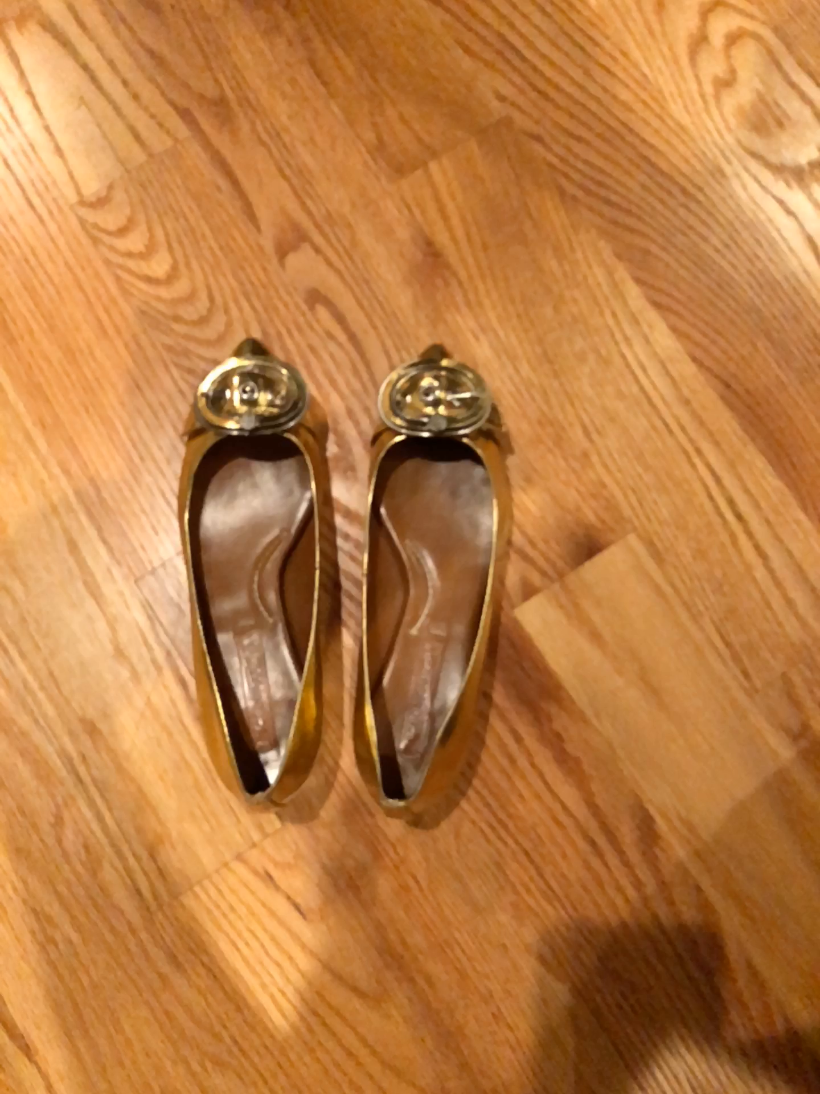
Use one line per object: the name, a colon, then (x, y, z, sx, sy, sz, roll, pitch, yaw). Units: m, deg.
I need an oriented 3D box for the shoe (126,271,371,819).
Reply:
shoe: (-0.077, -0.002, 0.449, 0.083, 0.066, 0.244, -8, 81, -1)

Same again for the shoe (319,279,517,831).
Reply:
shoe: (0.006, 0.002, 0.447, 0.077, 0.066, 0.249, 3, 81, 1)
